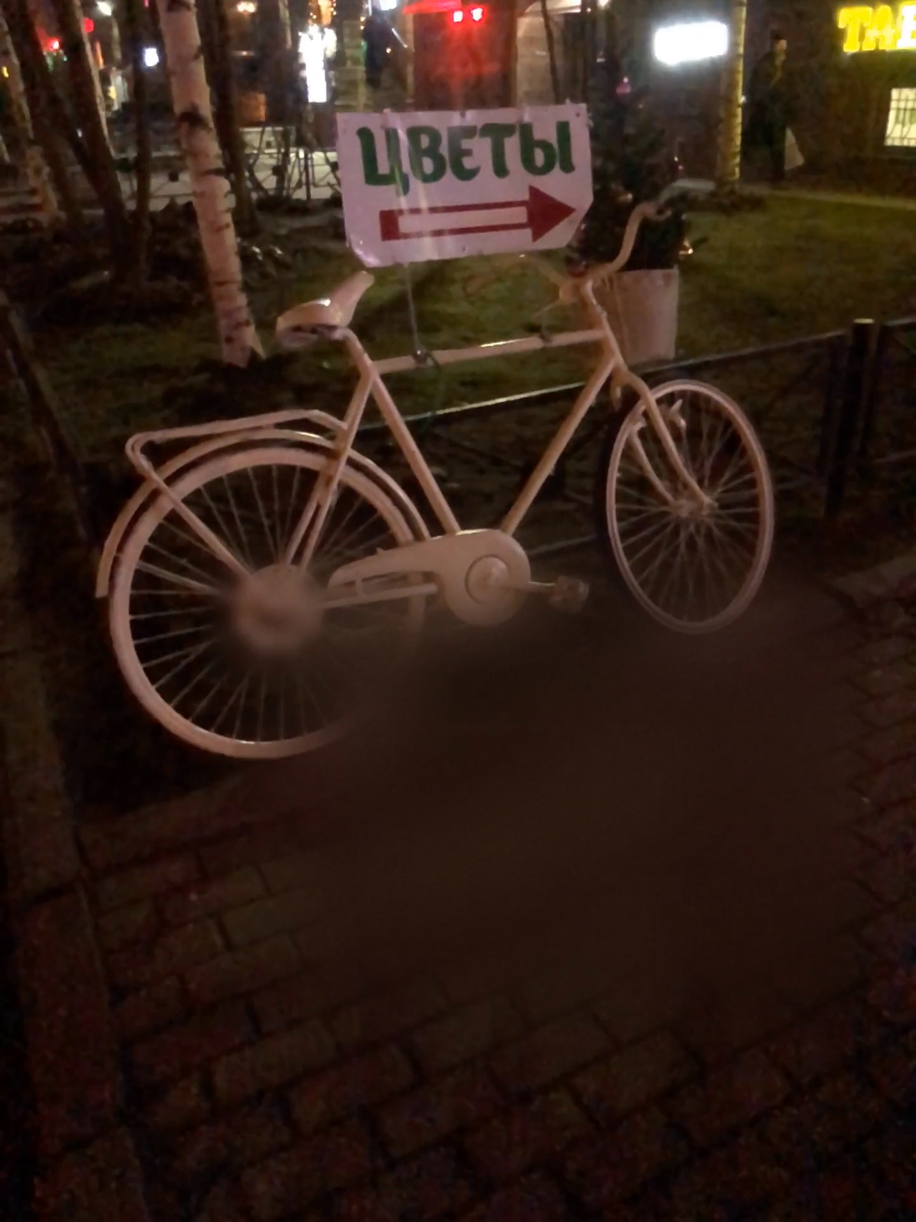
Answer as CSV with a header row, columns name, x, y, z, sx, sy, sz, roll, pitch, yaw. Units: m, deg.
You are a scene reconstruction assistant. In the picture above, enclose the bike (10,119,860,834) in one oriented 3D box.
name,x,y,z,sx,sy,sz,roll,pitch,yaw
bike,0.017,-0.455,2.443,1.830,1.118,0.608,-20,32,-24
